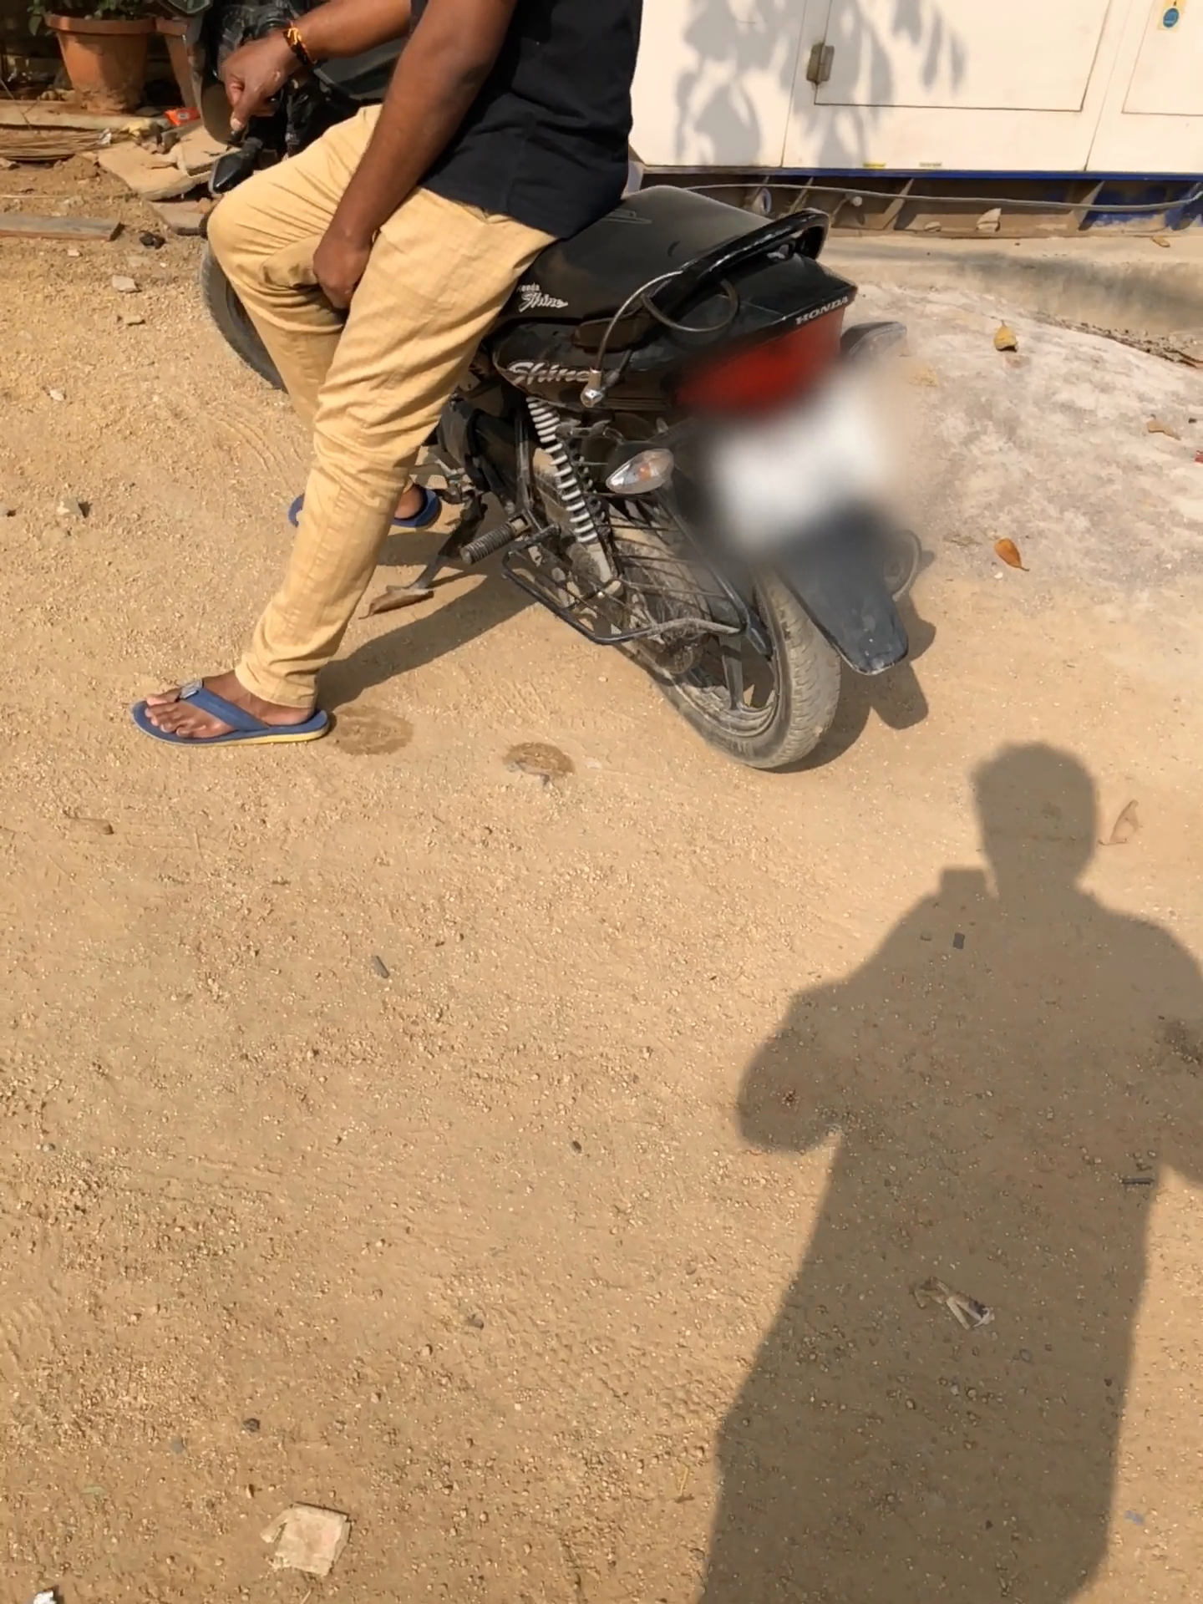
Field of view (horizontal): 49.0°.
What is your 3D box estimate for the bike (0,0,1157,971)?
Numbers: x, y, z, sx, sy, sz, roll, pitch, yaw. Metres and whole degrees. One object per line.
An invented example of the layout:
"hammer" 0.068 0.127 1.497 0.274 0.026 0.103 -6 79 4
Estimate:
"bike" -0.321 -0.845 2.079 0.883 1.213 1.694 -25 48 -34
